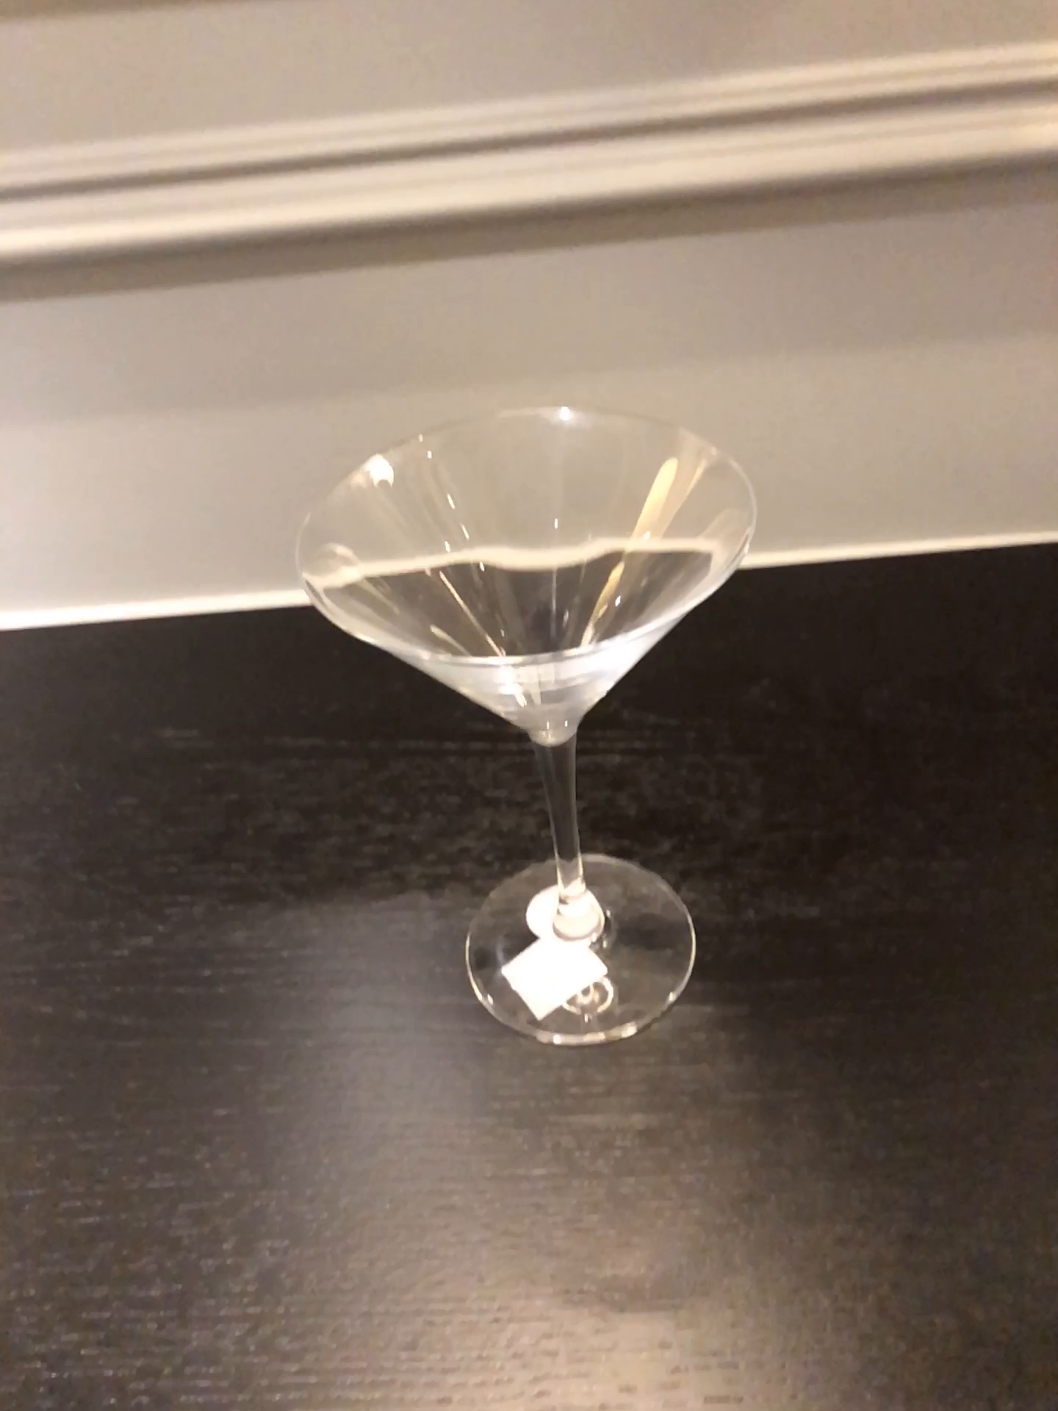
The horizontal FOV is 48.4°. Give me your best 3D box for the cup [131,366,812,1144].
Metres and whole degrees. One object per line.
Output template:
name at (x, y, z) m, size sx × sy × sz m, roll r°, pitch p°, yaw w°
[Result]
cup at (-0.007, 0.009, 0.355) m, size 0.130 × 0.159 × 0.120 m, roll -5°, pitch 40°, yaw 4°
